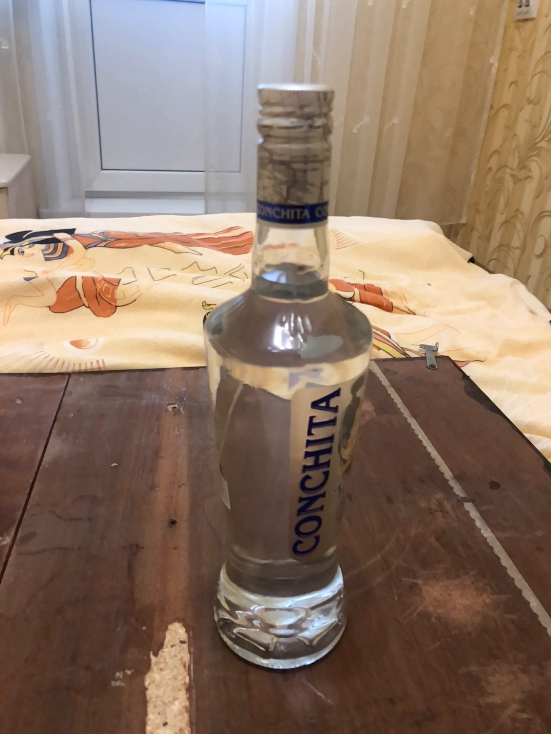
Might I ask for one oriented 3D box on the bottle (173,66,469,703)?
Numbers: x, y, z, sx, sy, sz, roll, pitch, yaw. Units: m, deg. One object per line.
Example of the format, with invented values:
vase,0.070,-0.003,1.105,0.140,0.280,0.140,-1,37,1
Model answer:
bottle,0.010,0.016,0.280,0.075,0.273,0.077,3,27,-1
